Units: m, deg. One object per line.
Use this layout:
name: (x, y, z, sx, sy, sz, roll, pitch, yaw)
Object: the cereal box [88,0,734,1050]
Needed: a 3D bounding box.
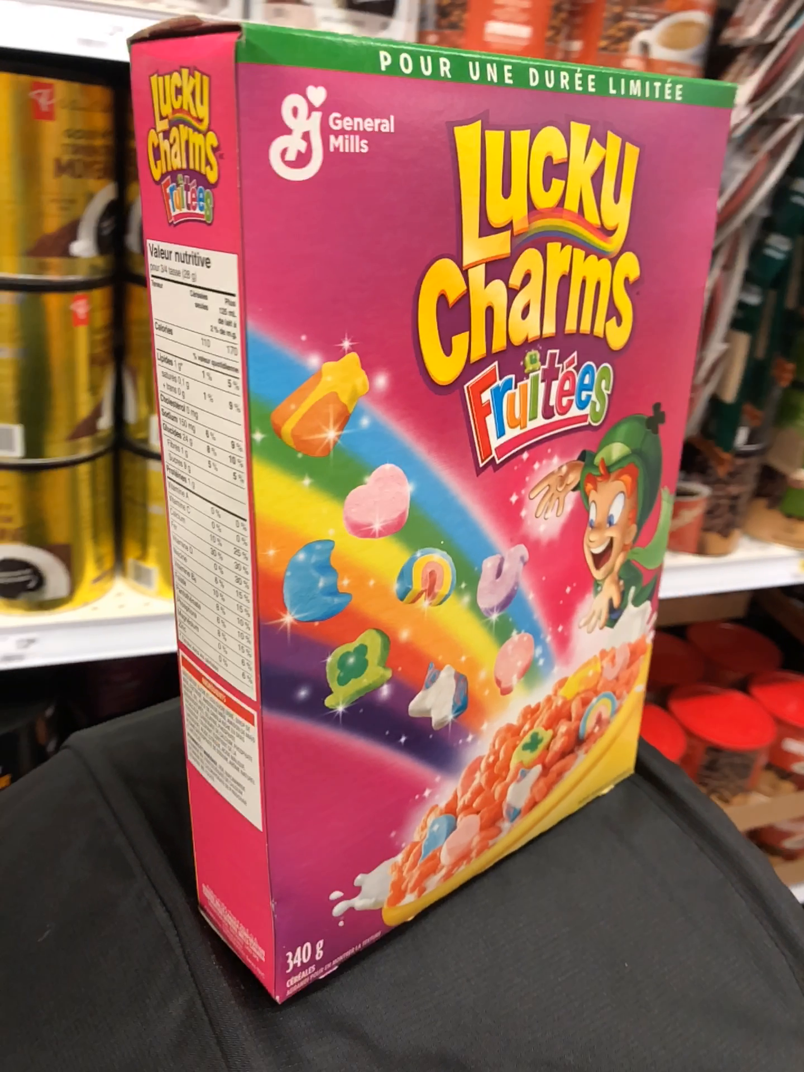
cereal box: (0.011, -0.006, 0.316, 0.200, 0.299, 0.060, -17, 29, -40)
